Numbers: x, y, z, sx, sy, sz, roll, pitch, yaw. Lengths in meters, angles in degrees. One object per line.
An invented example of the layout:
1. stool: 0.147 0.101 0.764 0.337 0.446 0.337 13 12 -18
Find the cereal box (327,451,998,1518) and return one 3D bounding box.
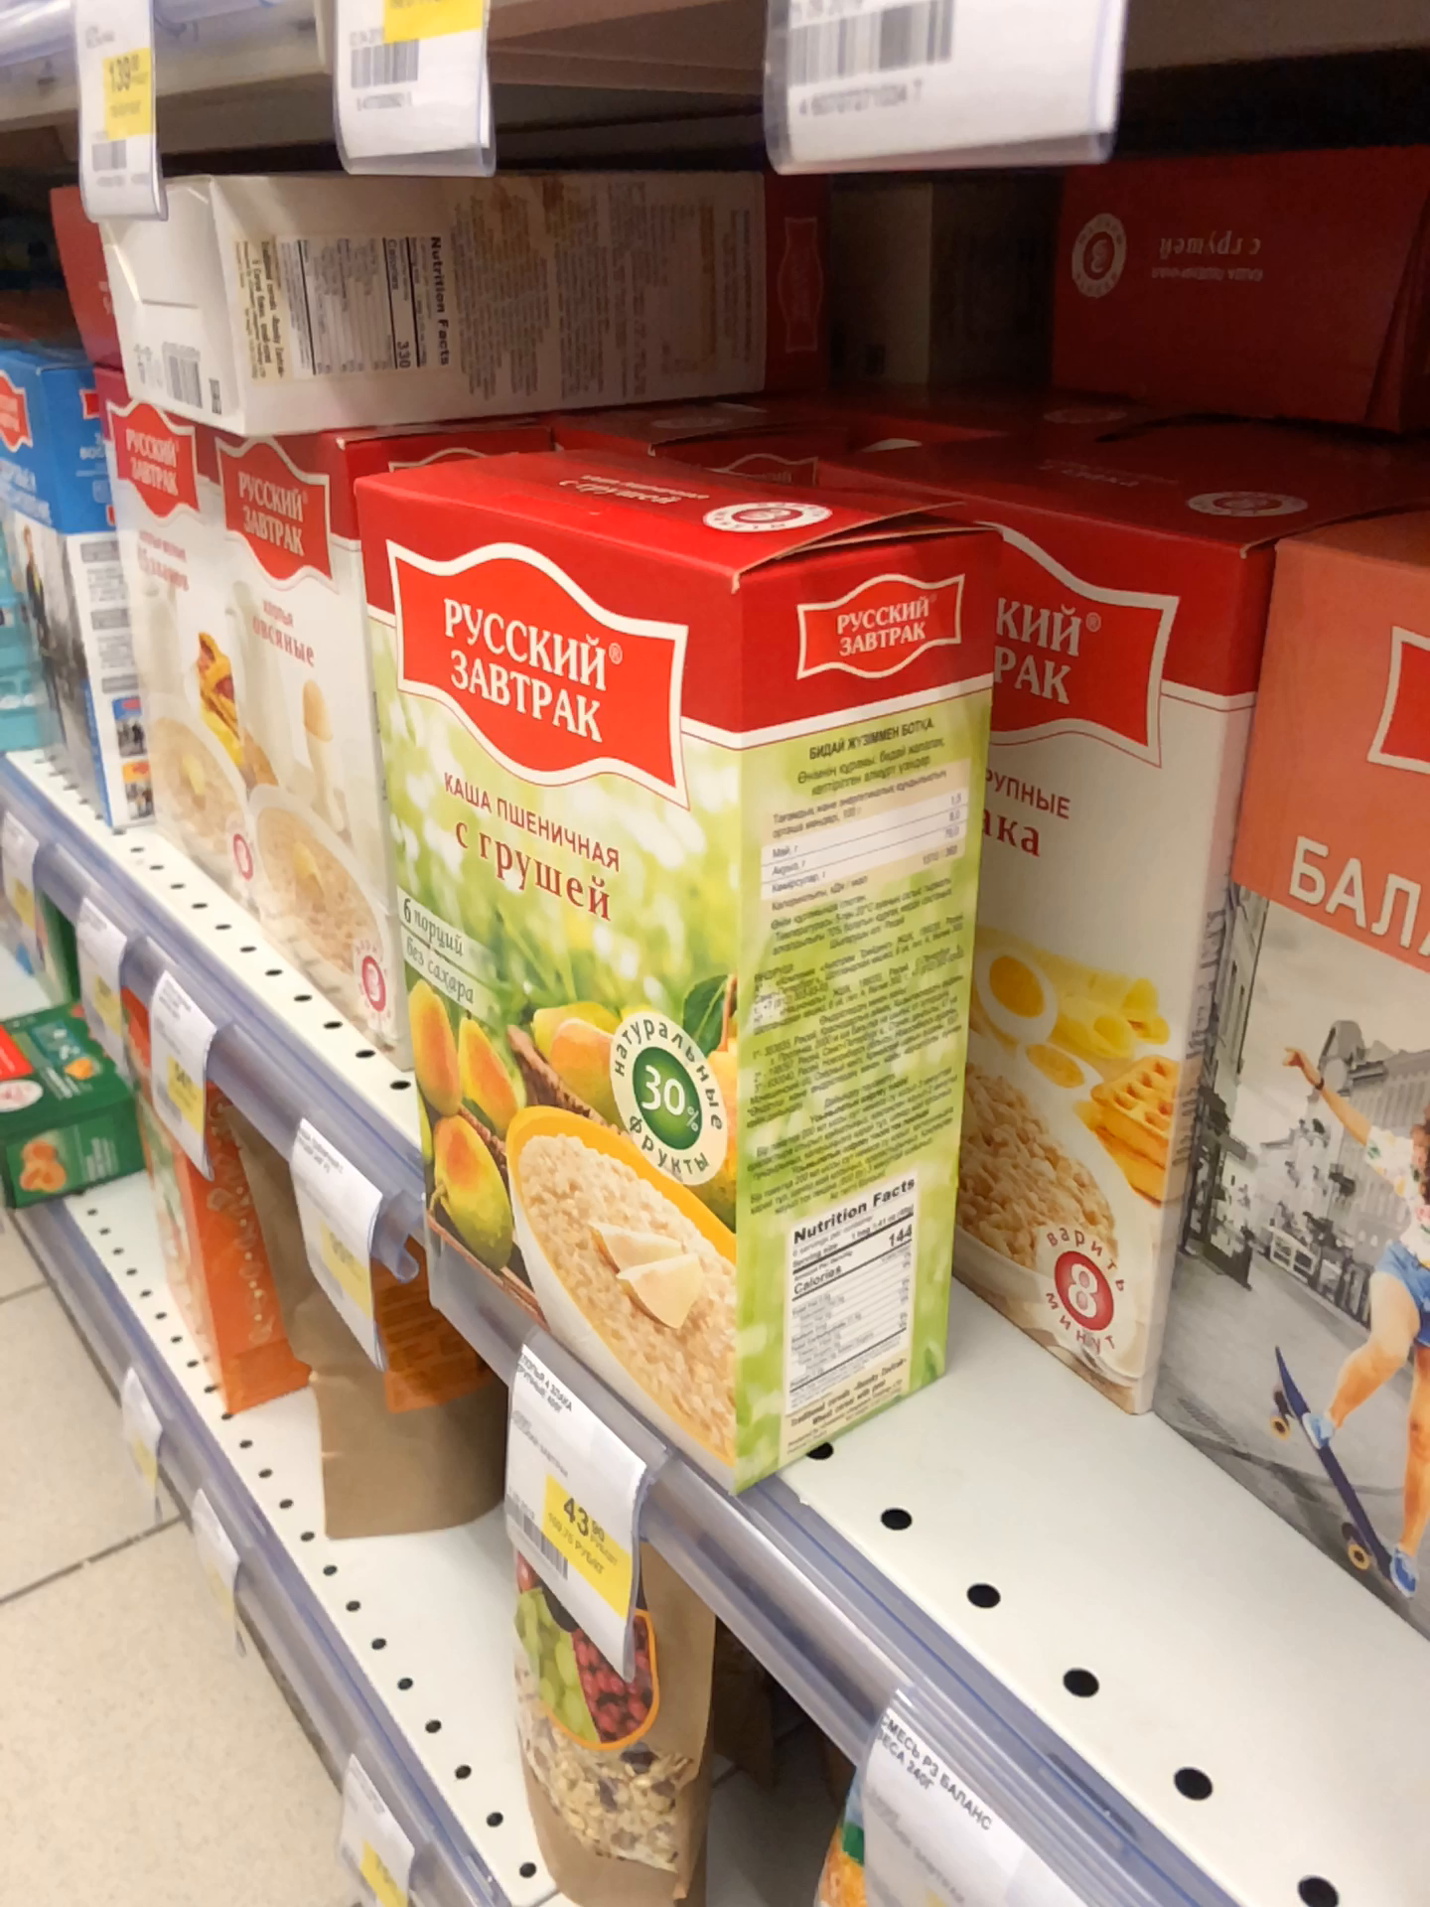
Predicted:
1. cereal box: -0.017 -0.003 0.348 0.060 0.189 0.140 -18 30 -34
